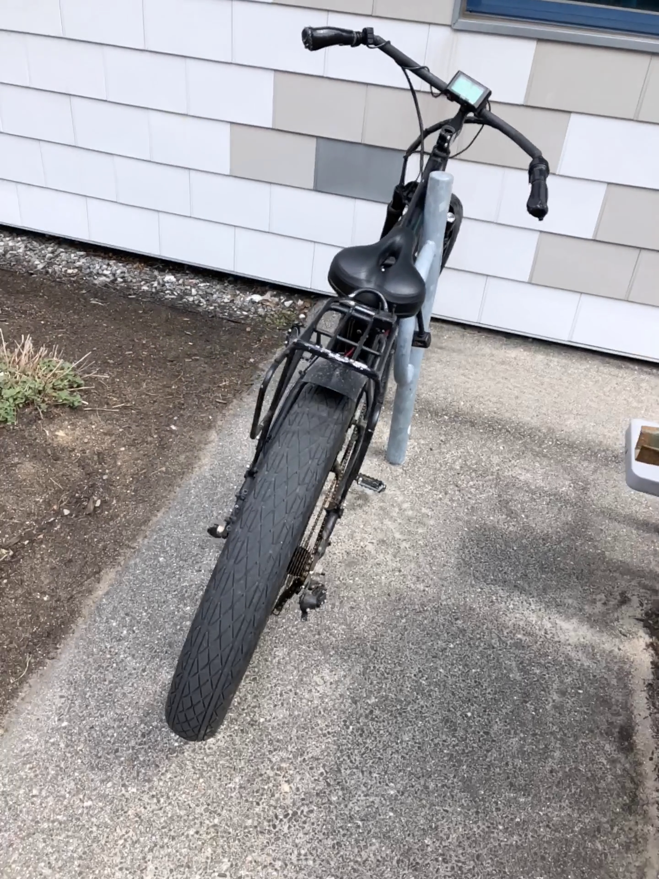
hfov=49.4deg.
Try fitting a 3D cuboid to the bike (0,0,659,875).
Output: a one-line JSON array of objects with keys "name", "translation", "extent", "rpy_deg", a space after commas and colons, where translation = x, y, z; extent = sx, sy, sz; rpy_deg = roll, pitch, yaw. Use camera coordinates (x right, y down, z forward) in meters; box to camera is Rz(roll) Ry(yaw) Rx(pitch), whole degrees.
[{"name": "bike", "translation": [0.238, -0.354, 1.892], "extent": [0.876, 1.170, 2.127], "rpy_deg": [14, 39, 12]}]
